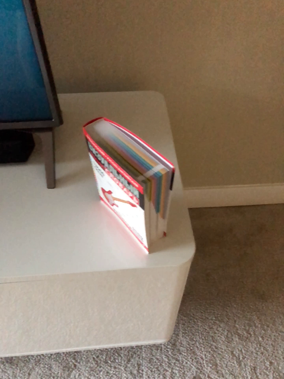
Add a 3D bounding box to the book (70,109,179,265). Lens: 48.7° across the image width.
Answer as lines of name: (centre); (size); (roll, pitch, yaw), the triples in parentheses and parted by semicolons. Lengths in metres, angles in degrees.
book: (-0.028, 0.000, 0.473); (0.060, 0.179, 0.150); (-32, 57, -26)
